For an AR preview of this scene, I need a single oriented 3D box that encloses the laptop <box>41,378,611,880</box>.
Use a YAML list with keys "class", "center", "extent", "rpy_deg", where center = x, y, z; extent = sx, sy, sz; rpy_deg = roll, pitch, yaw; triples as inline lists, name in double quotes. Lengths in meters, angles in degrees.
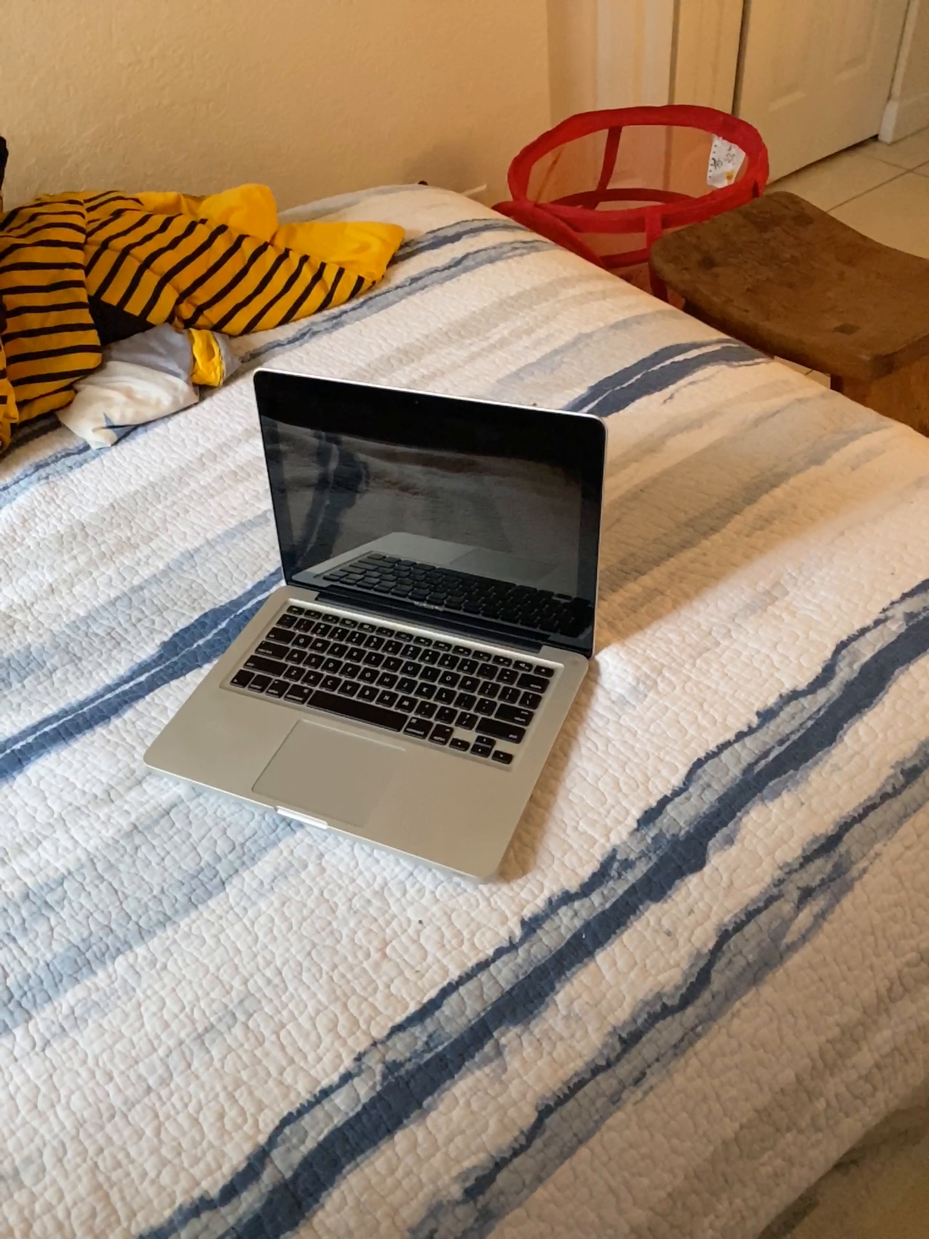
- class: "laptop"
  center: [-0.080, -0.012, 0.745]
  extent: [0.318, 0.199, 0.279]
  rpy_deg: [13, 49, 21]
